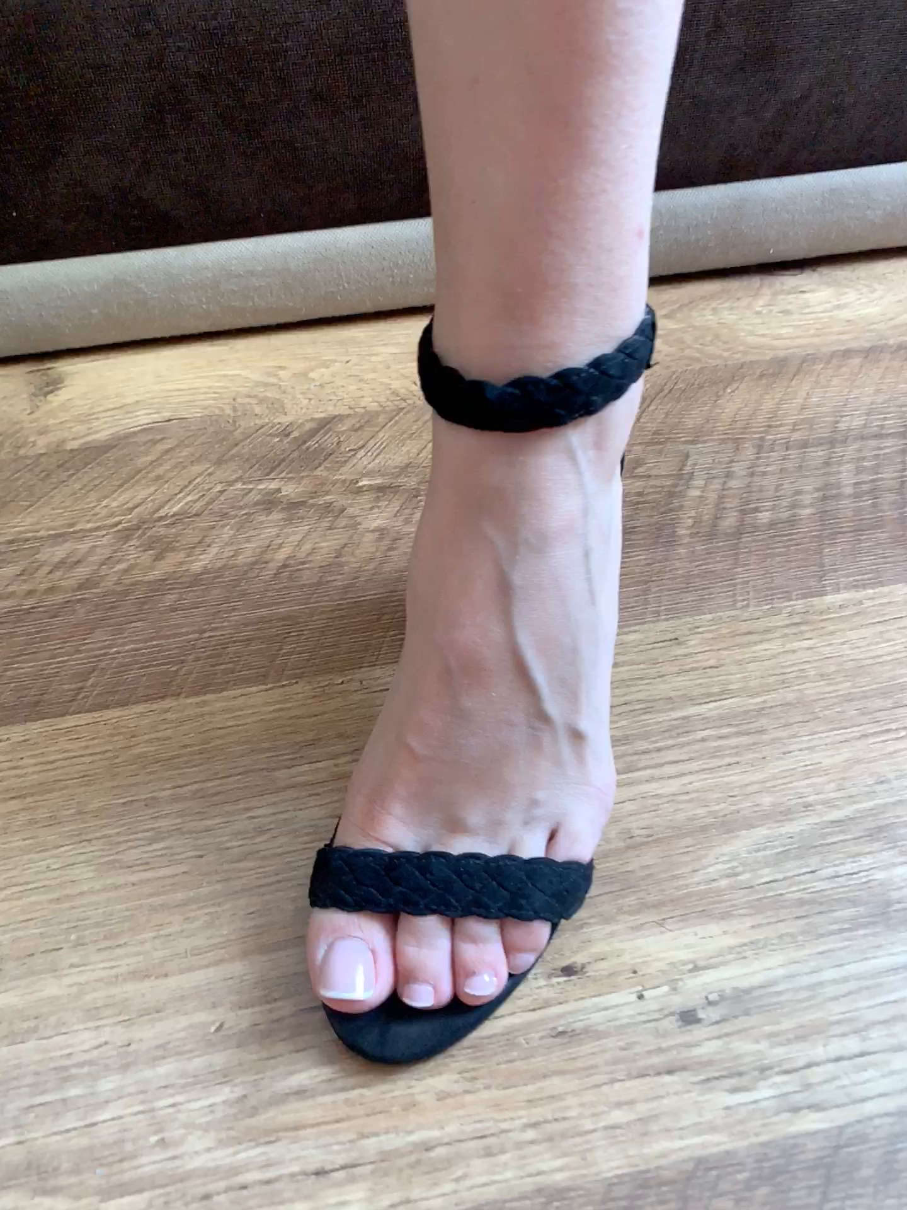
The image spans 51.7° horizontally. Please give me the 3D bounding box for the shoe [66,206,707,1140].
[{"bbox_3d":[0.010,0.002,0.284,0.090,0.149,0.231,9,45,13],"label":"shoe"}]
